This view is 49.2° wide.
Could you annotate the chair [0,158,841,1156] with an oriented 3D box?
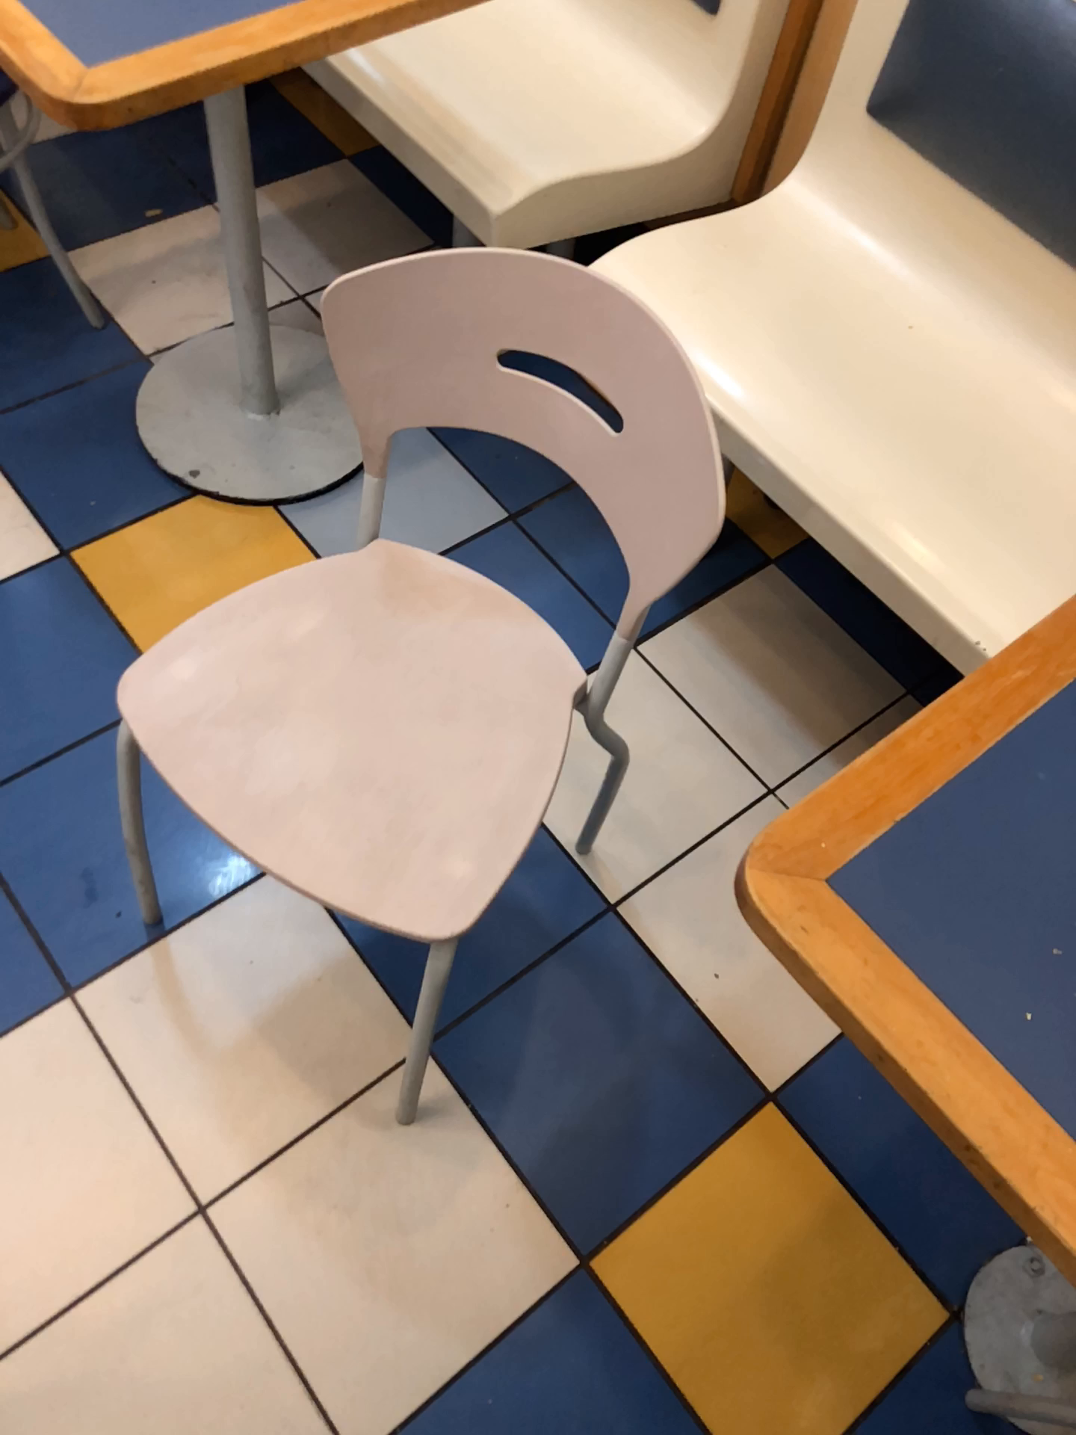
[{"bbox_3d":[-0.131,0.002,1.178,0.440,0.776,0.512,34,59,13],"label":"chair"}]
